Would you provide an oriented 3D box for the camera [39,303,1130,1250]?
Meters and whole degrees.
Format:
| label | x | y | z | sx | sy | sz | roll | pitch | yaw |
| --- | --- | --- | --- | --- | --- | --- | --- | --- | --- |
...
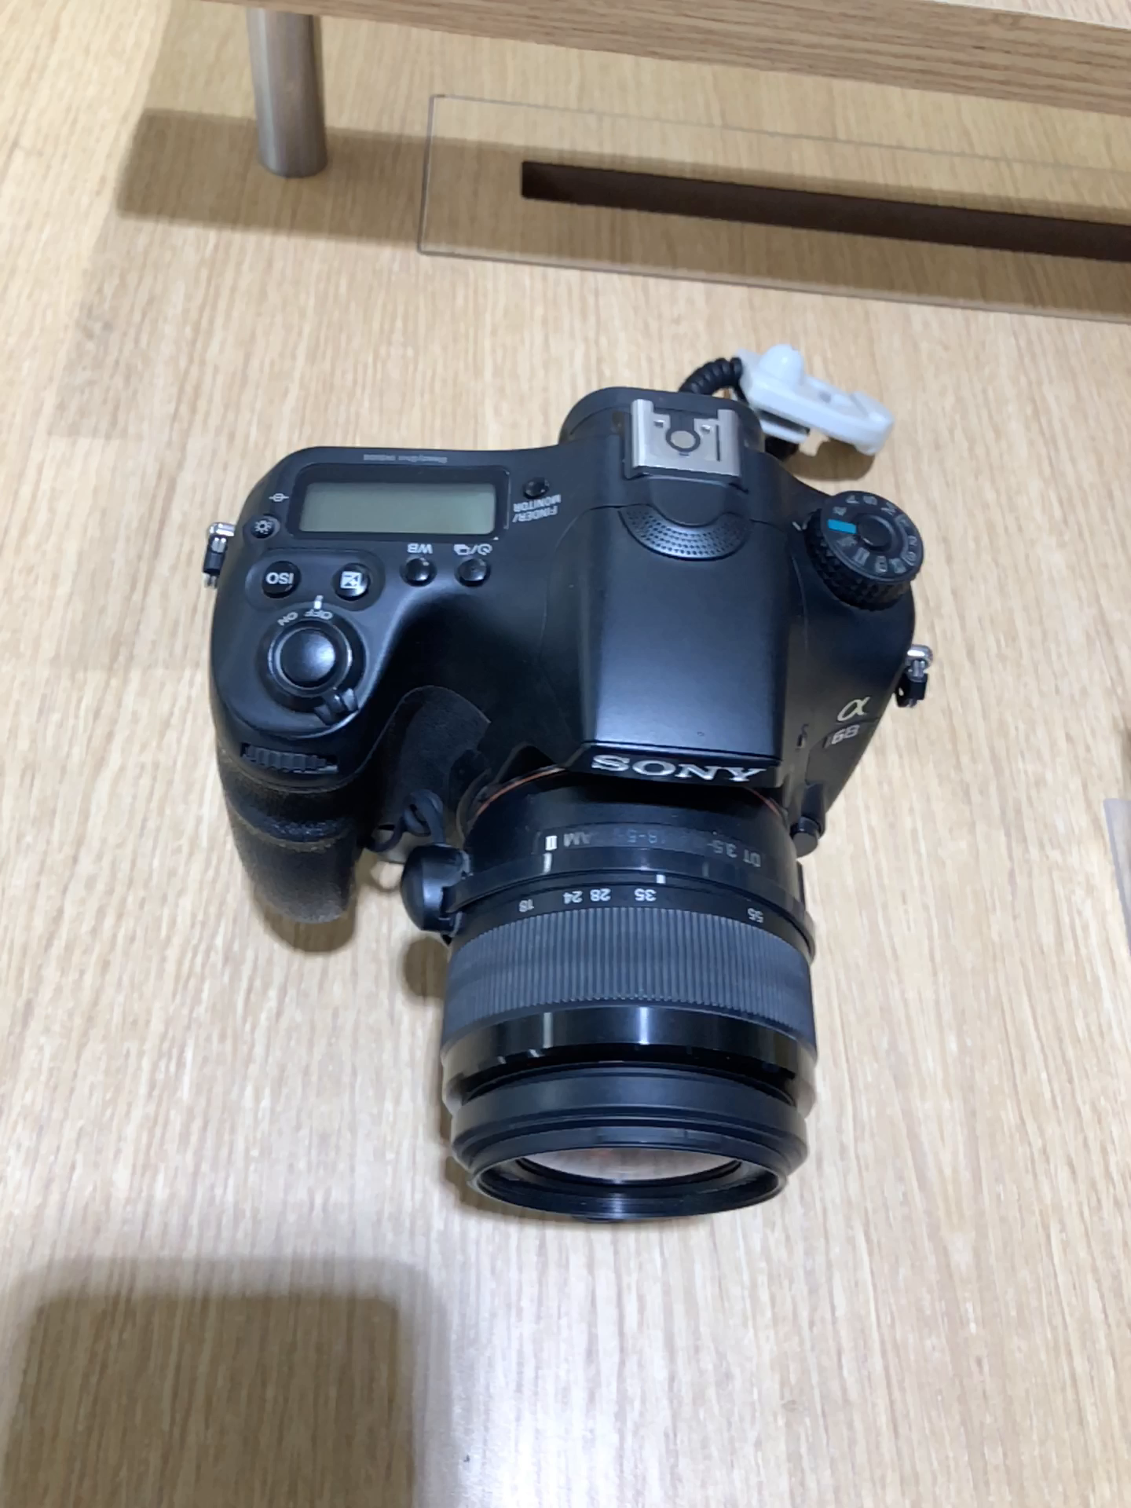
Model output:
| label | x | y | z | sx | sy | sz | roll | pitch | yaw |
| --- | --- | --- | --- | --- | --- | --- | --- | --- | --- |
| camera | 0.007 | 0.006 | 0.213 | 0.140 | 0.080 | 0.131 | 3 | 58 | -6 |
